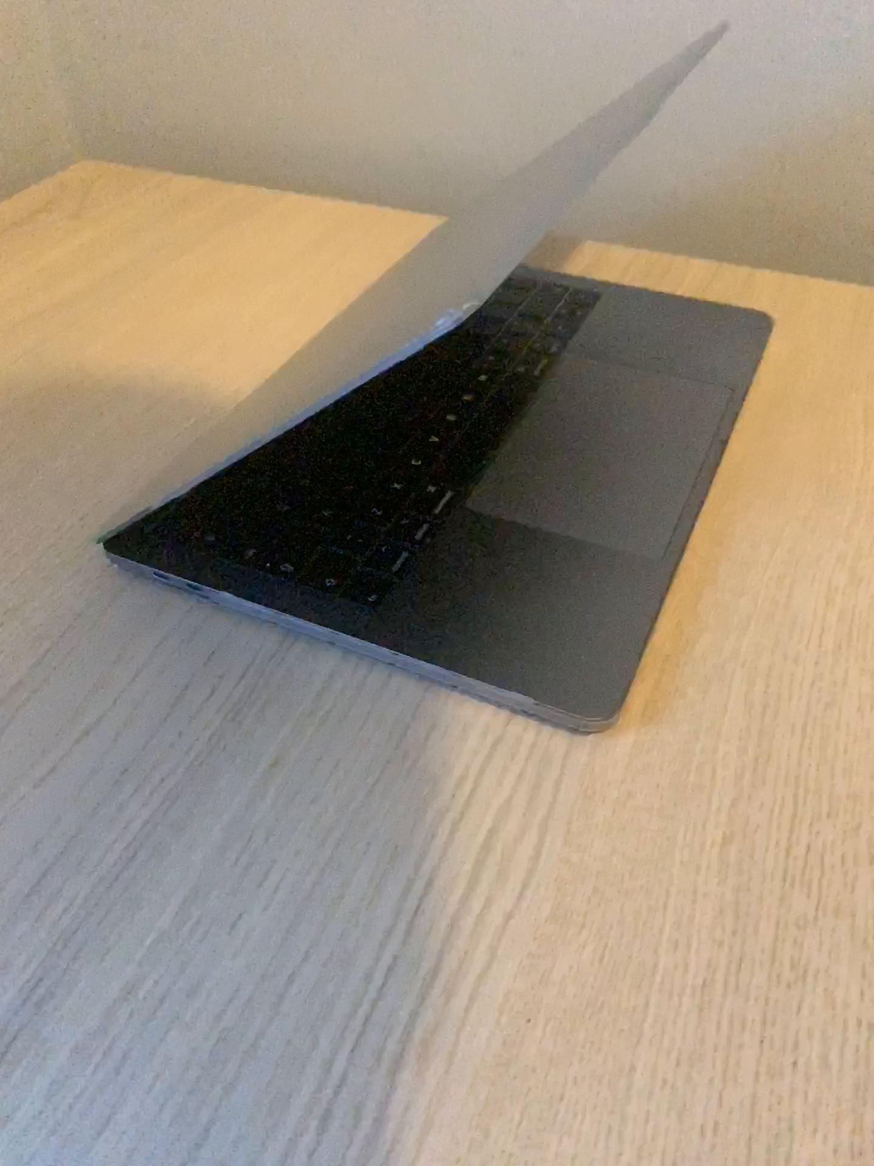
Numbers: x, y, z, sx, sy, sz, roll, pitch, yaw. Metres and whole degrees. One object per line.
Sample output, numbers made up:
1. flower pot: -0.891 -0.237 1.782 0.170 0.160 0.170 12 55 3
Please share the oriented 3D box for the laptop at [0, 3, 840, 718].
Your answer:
1. laptop: 0.021 -0.124 0.369 0.204 0.130 0.291 16 46 19
